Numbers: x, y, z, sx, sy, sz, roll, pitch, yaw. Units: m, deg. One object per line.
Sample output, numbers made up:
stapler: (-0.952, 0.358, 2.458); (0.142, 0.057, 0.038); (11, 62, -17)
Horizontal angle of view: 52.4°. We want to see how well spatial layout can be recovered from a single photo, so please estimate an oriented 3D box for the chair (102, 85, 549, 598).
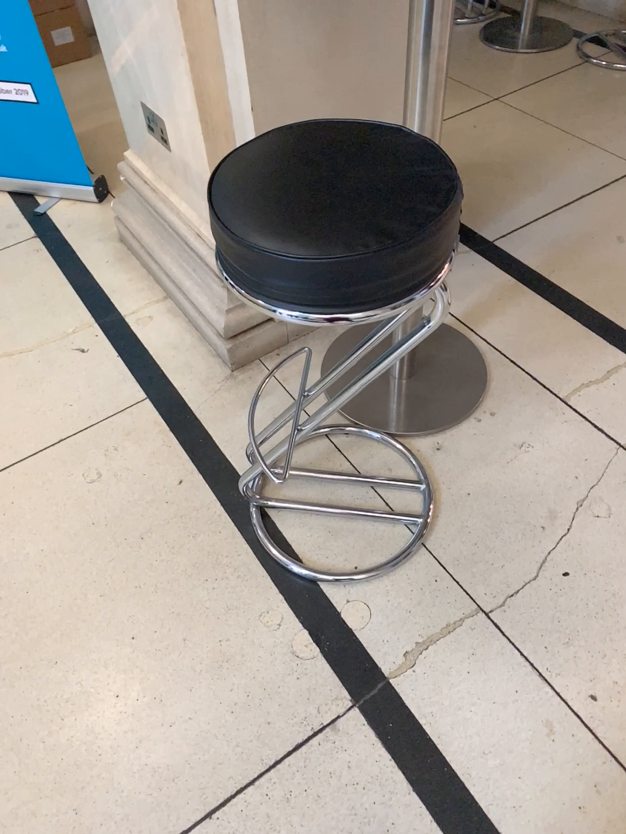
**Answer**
chair: (0.059, -0.077, 1.169); (0.503, 0.813, 0.468); (1, 50, 7)
